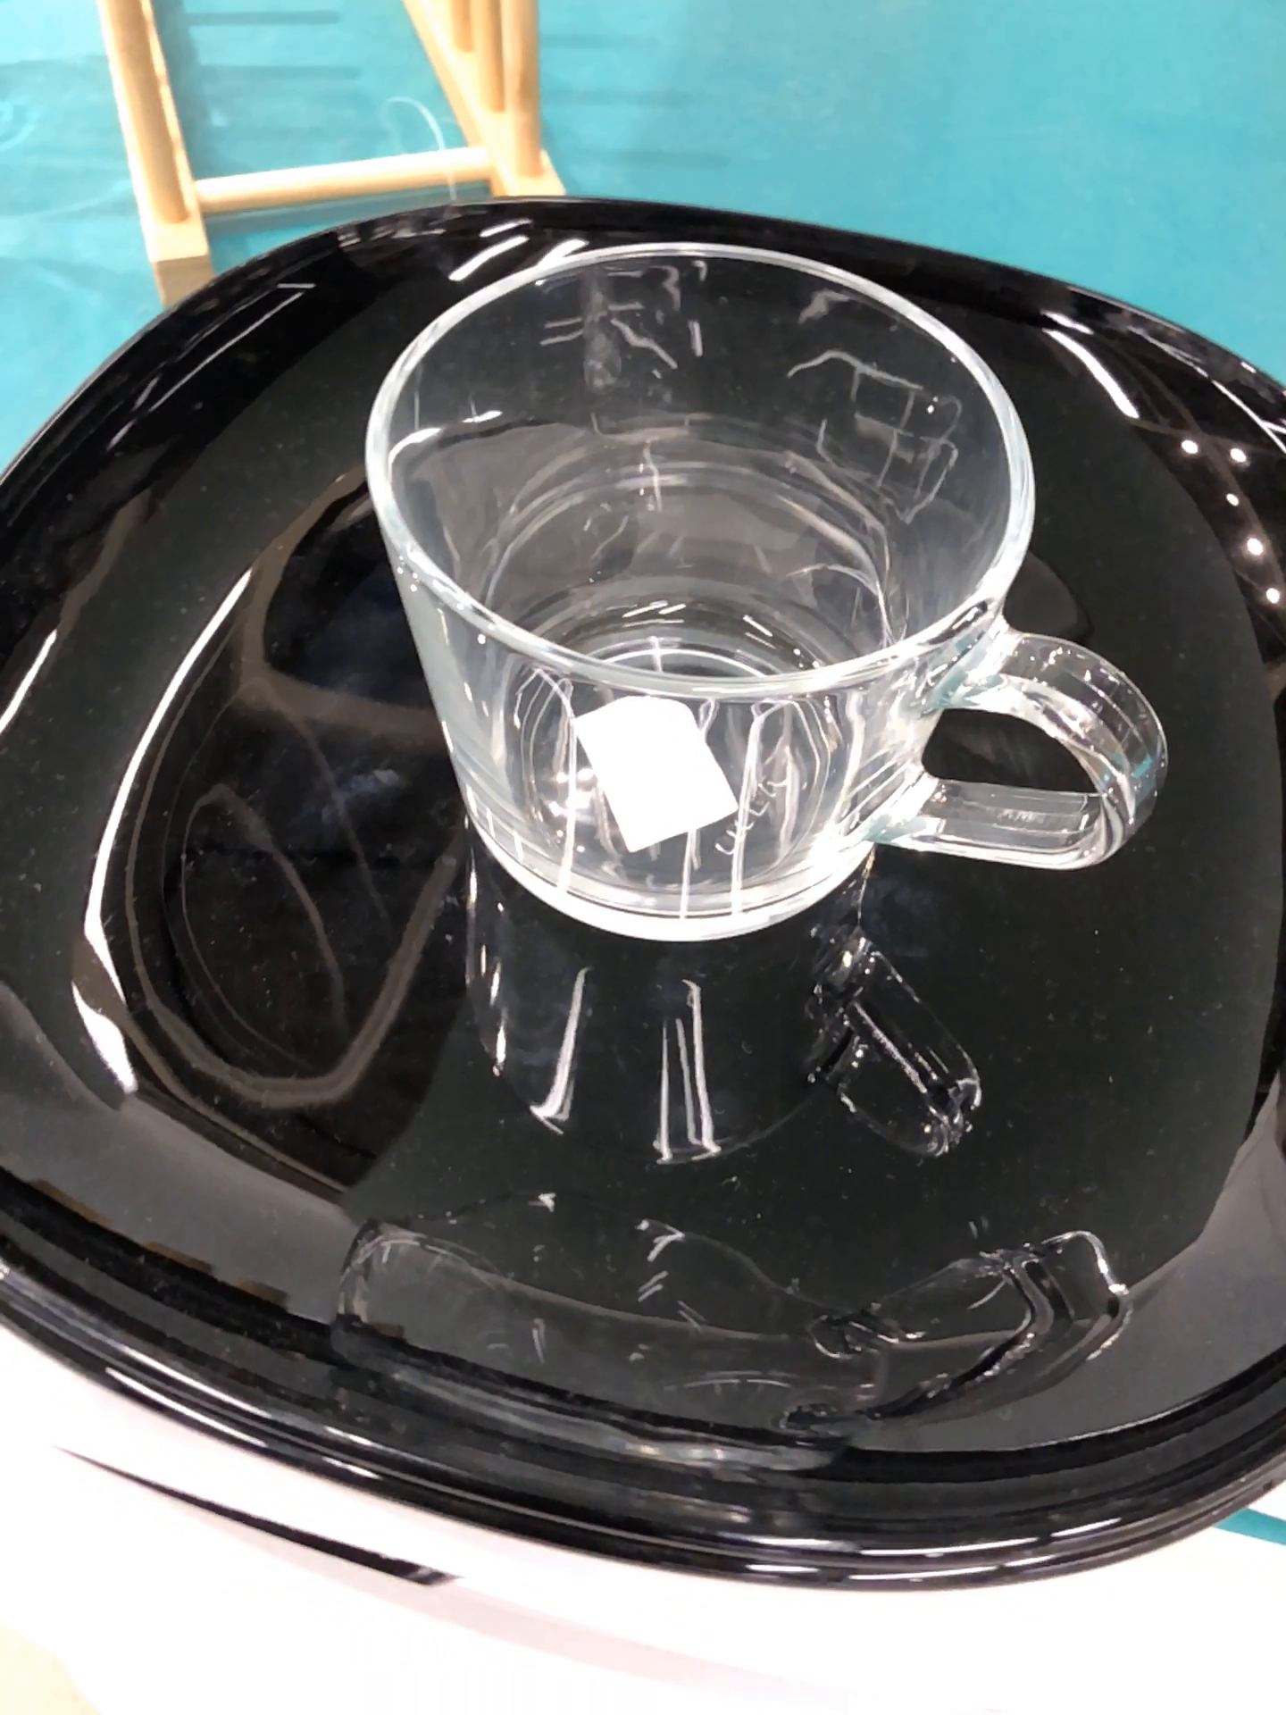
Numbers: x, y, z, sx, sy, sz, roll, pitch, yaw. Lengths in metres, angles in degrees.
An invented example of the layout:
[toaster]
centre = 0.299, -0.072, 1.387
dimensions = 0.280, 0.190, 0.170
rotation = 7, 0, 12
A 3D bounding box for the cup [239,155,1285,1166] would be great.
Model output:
[cup]
centre = 0.028, -0.042, 0.261
dimensions = 0.140, 0.080, 0.120
rotation = 26, 56, 15
